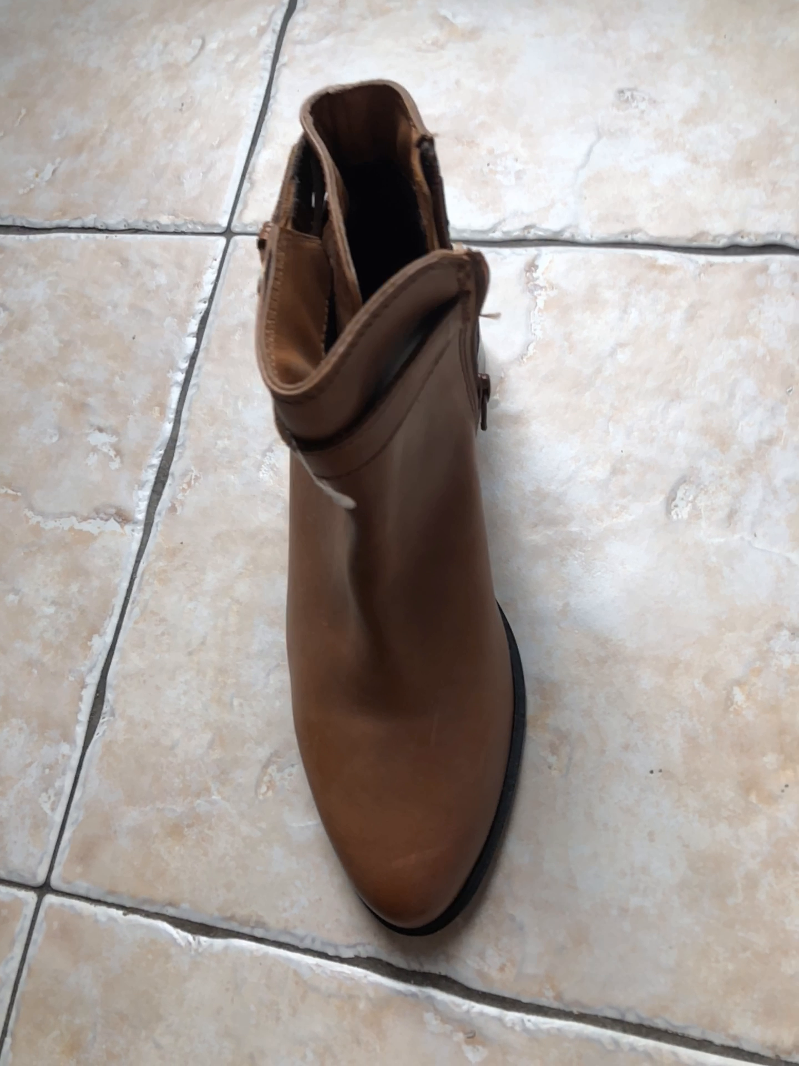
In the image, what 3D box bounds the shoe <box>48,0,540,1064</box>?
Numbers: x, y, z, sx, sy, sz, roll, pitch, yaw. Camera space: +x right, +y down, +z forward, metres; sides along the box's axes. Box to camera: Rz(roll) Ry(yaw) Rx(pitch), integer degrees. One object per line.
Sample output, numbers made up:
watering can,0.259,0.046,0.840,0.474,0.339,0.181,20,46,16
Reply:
shoe,-0.004,-0.013,0.307,0.090,0.180,0.301,-2,71,13
